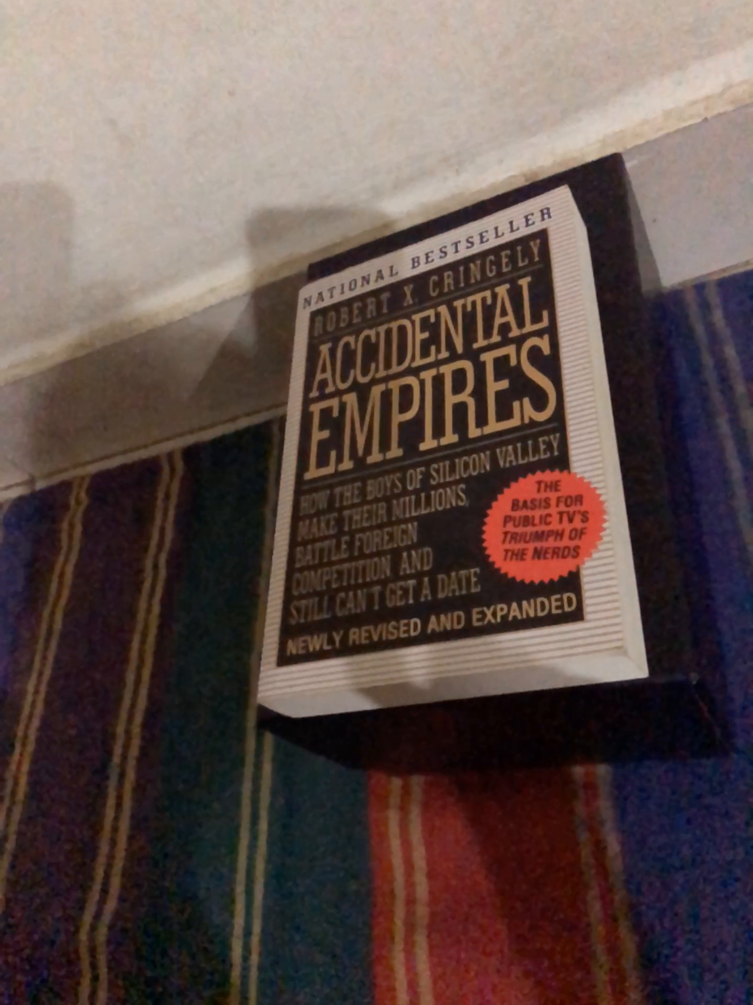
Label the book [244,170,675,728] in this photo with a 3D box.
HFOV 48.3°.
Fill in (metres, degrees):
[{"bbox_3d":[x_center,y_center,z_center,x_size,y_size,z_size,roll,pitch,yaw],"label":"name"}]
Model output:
[{"bbox_3d":[0.026,-0.022,0.314,0.130,0.040,0.190,-13,56,24],"label":"book"}]
